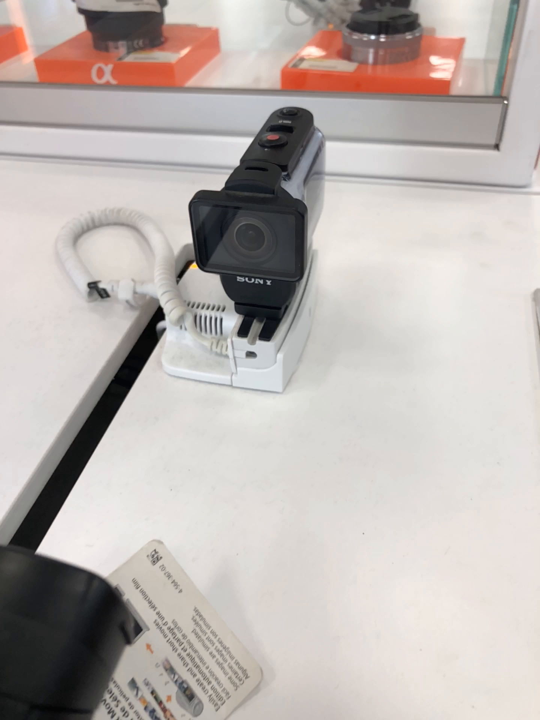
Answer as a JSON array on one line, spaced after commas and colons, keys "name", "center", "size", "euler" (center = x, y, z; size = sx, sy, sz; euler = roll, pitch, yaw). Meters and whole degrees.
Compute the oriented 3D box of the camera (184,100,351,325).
[{"name": "camera", "center": [0.004, -0.069, 0.273], "size": [0.050, 0.060, 0.090], "euler": [7, 42, 11]}]
